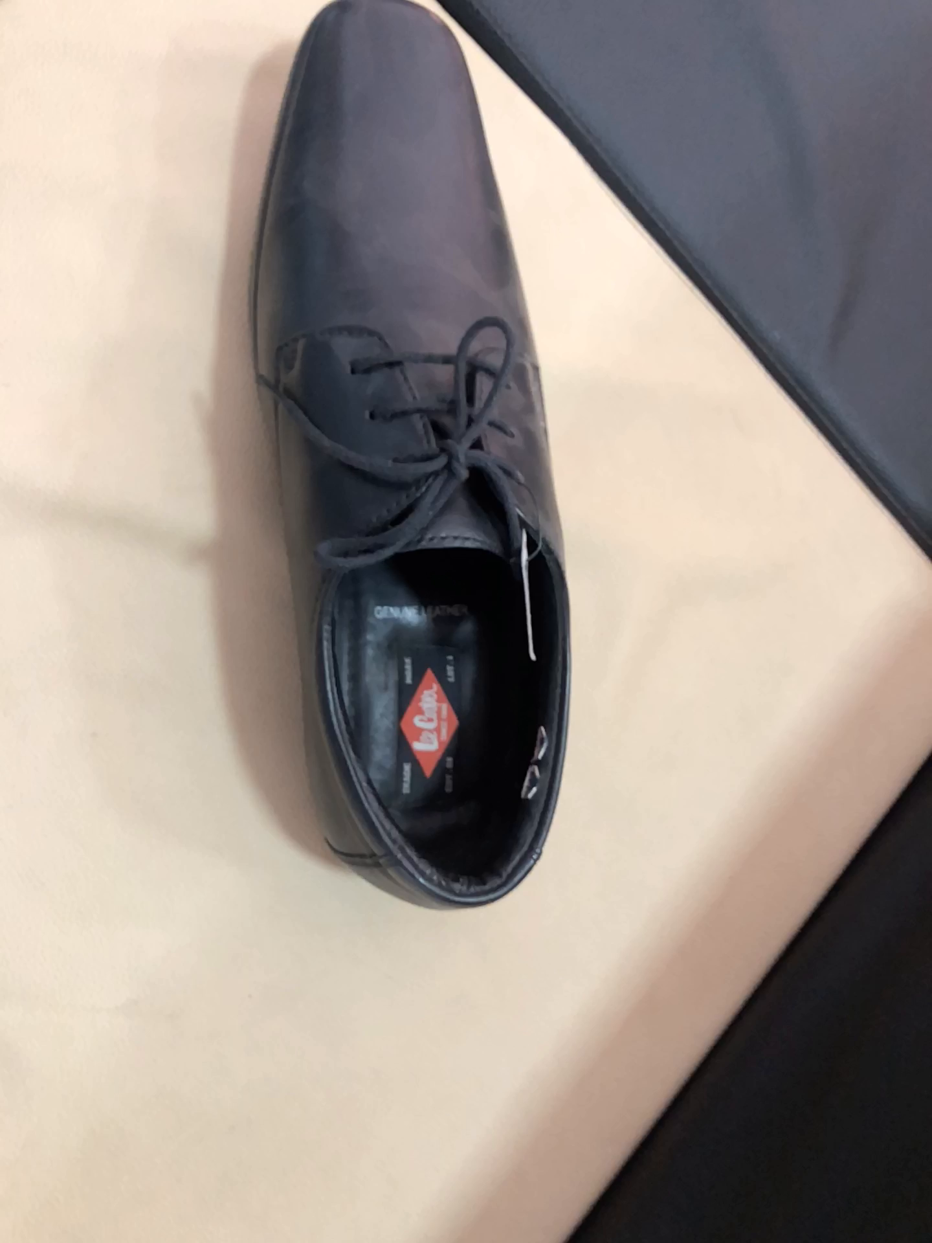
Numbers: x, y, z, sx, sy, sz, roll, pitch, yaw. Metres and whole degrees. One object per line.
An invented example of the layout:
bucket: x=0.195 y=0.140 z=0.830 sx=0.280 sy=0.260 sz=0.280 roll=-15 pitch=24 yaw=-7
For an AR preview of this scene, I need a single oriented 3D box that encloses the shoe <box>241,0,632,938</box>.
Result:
shoe: x=-0.015 y=-0.060 z=0.297 sx=0.090 sy=0.080 sz=0.270 roll=0 pitch=86 yaw=-16
